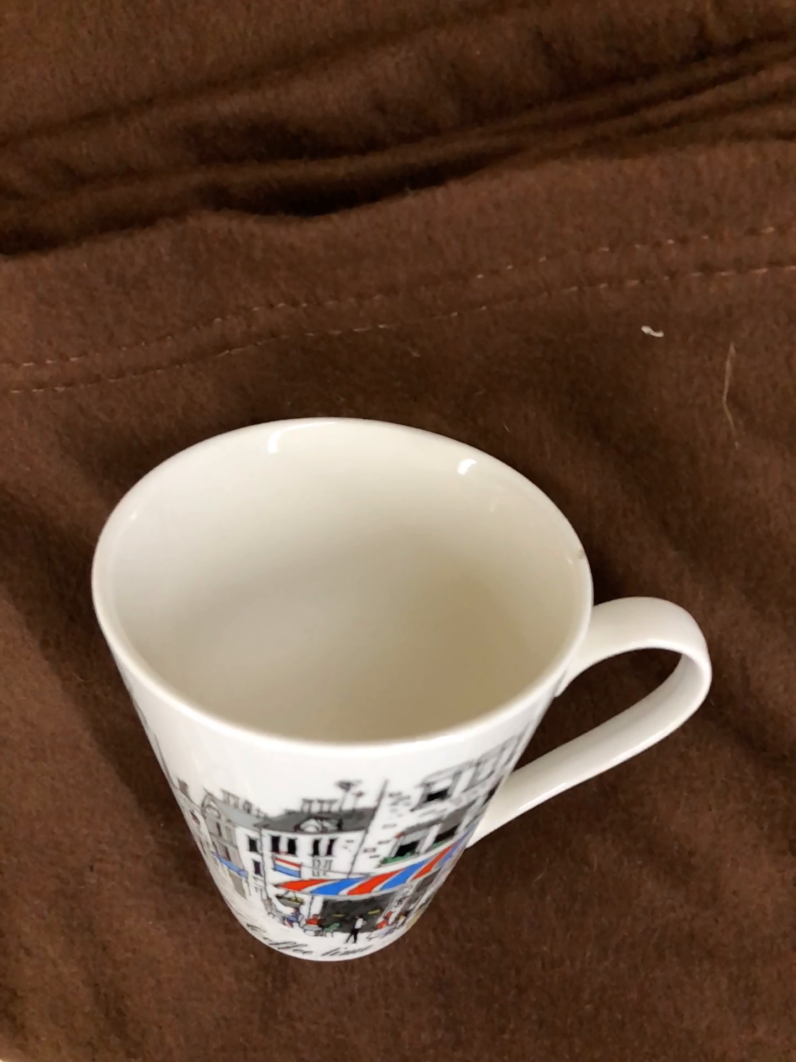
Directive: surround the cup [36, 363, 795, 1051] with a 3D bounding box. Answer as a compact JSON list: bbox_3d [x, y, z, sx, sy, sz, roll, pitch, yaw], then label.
[{"bbox_3d":[0.002,0.039,0.188,0.110,0.080,0.110,2,128,3],"label":"cup"}]
